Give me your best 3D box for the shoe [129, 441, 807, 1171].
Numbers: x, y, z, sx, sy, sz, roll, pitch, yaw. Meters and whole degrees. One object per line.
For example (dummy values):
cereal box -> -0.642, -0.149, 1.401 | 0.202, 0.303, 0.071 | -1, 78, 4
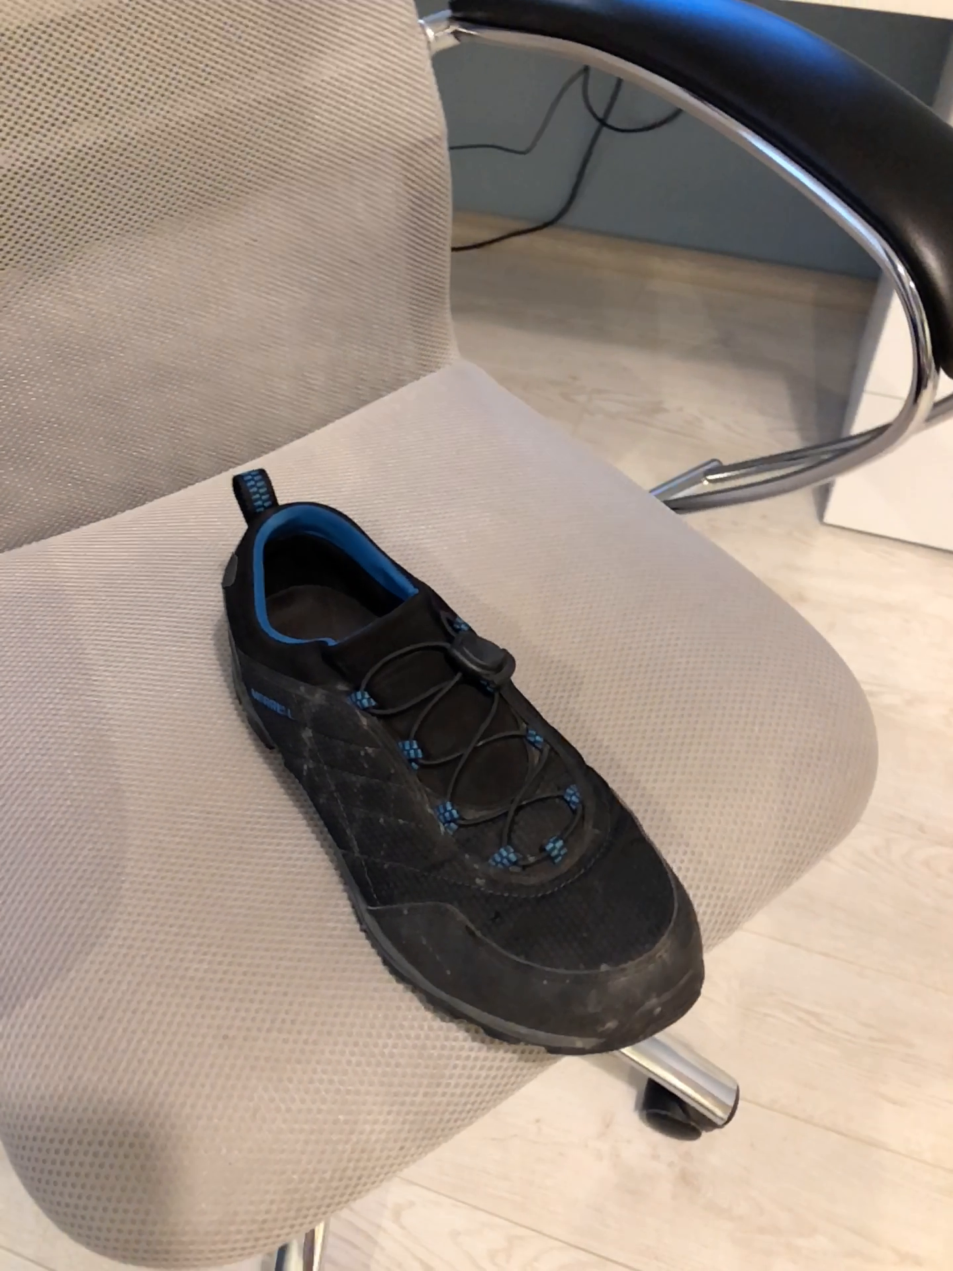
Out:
shoe -> -0.020, 0.057, 0.477 | 0.128, 0.109, 0.301 | -31, 56, -22
